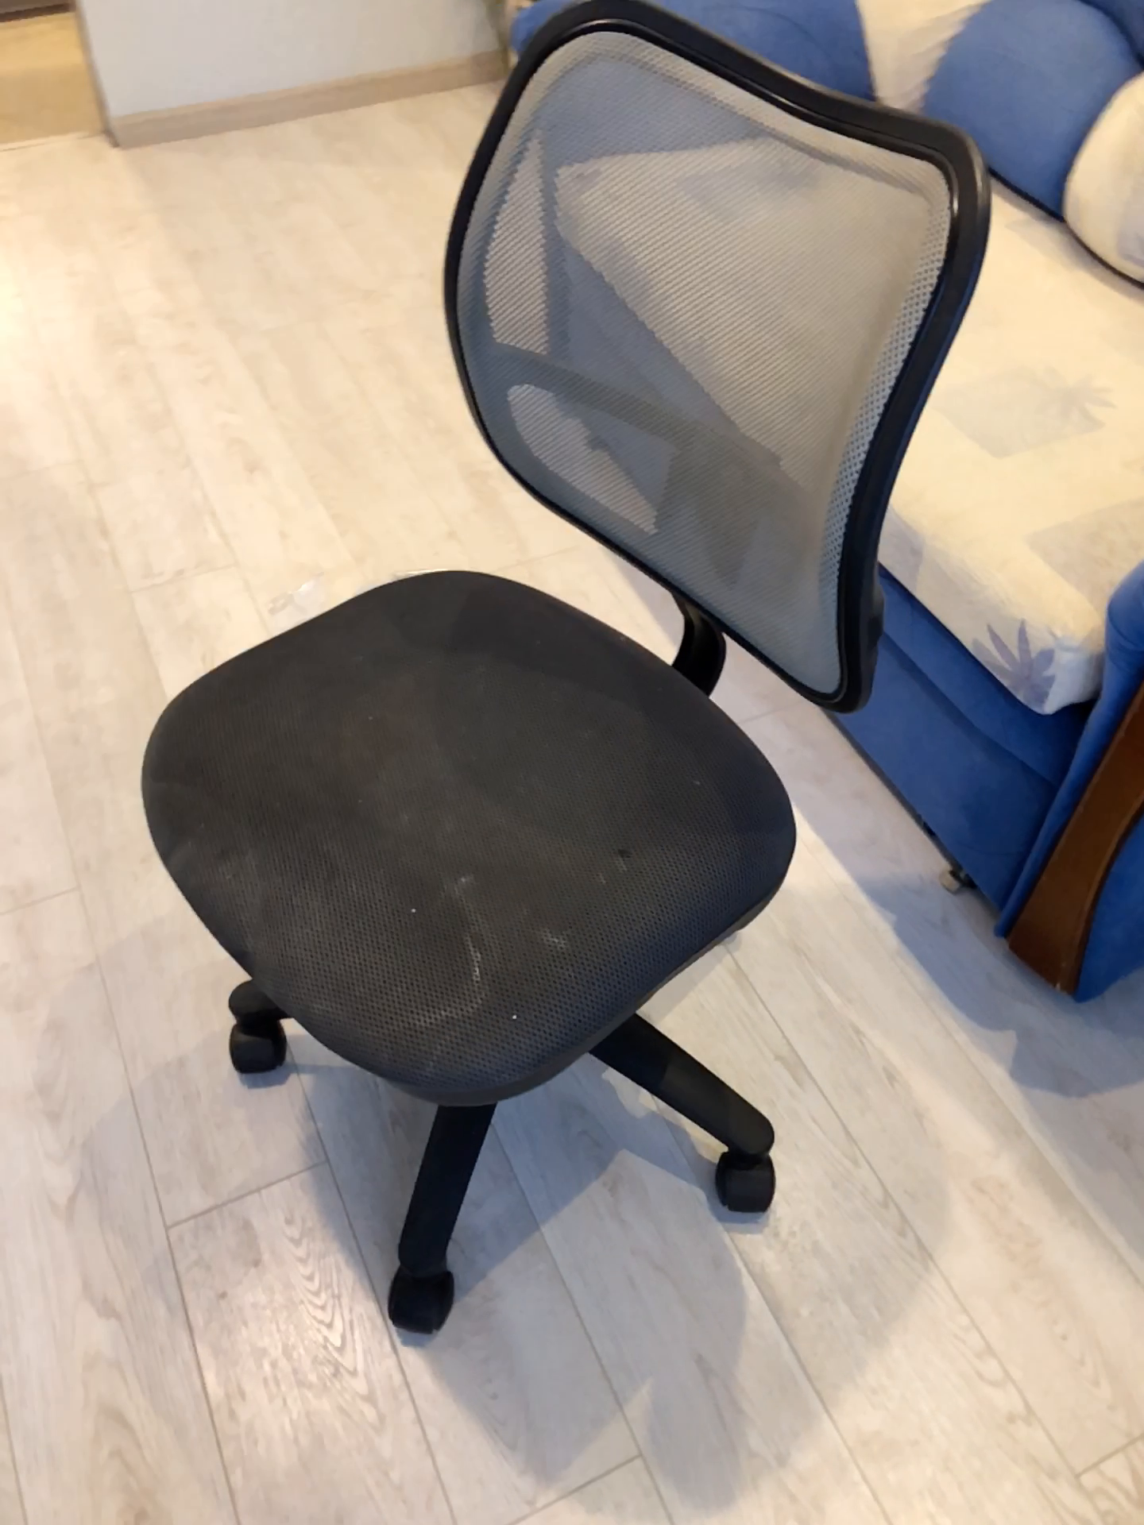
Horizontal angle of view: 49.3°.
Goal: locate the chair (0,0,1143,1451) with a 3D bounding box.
[{"bbox_3d":[-0.089,-0.069,0.895,0.512,0.735,0.662,-30,54,-24],"label":"chair"}]
